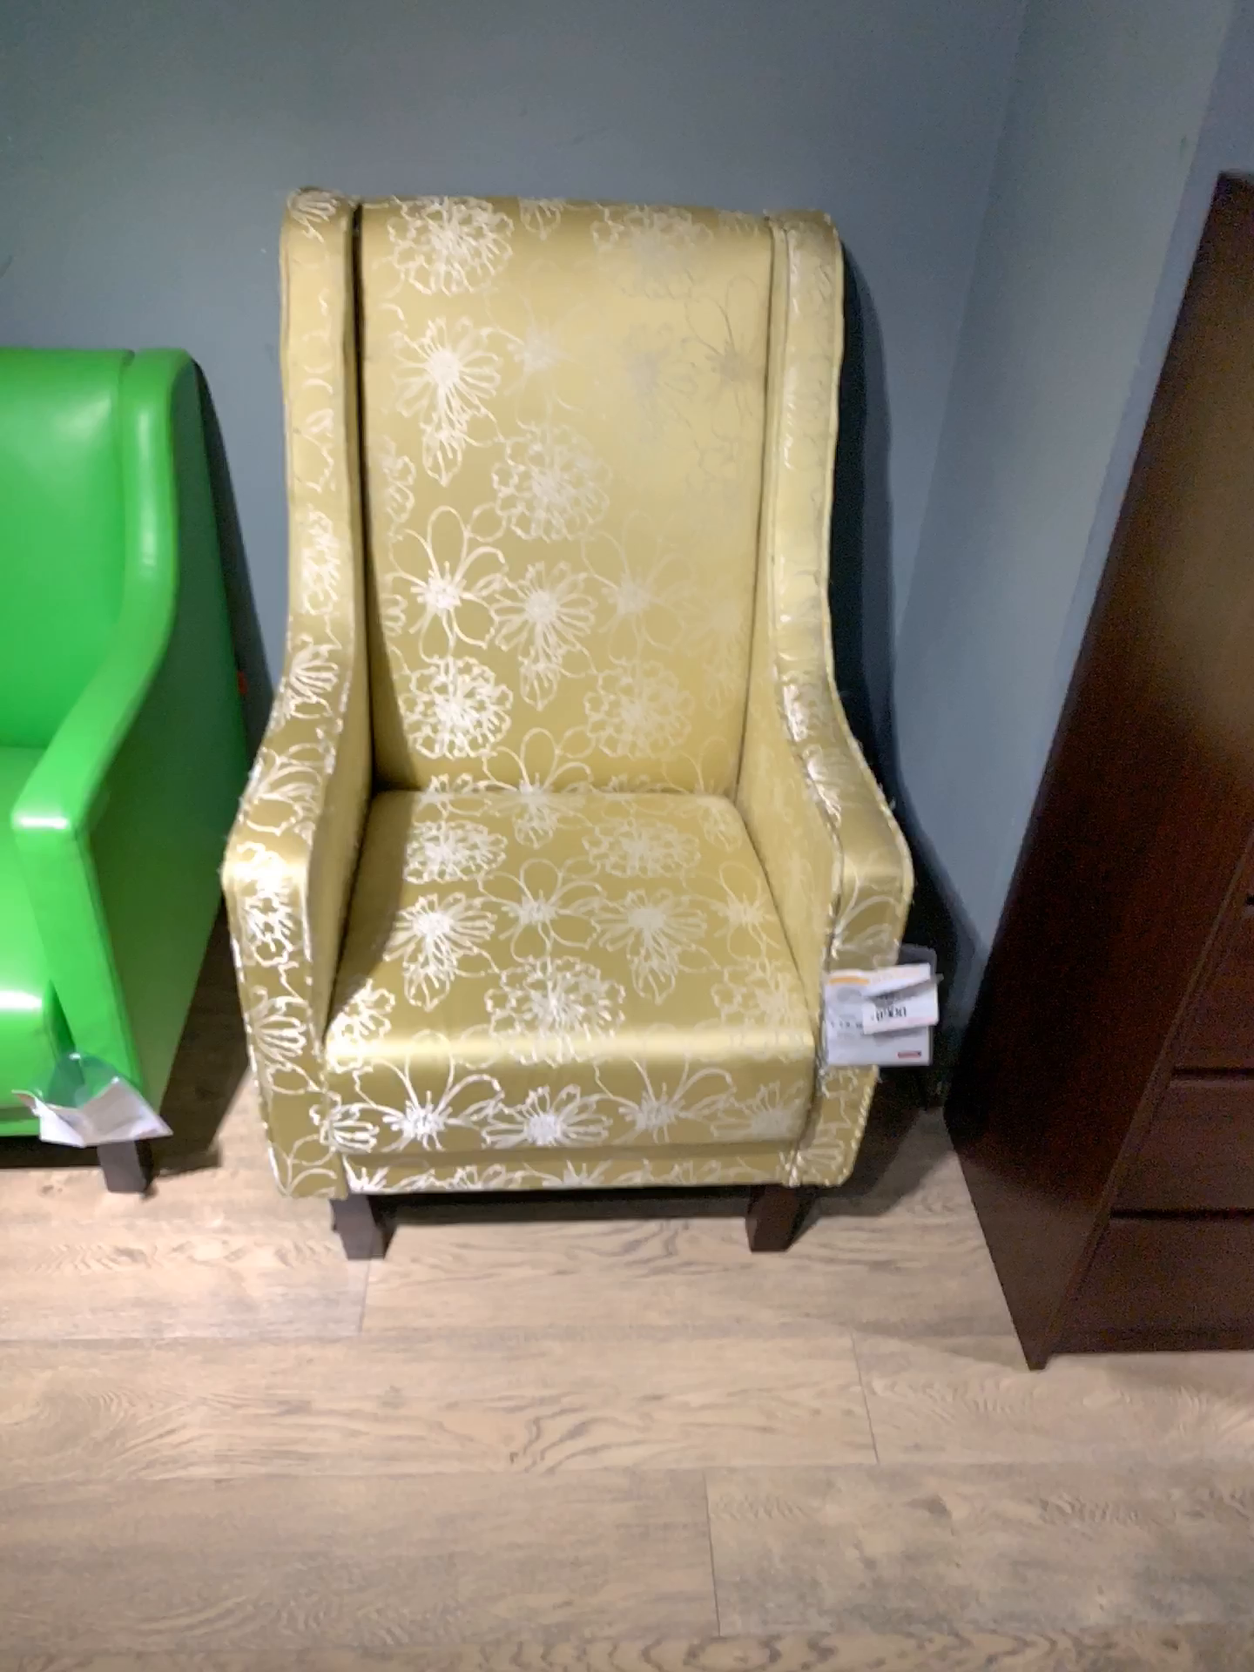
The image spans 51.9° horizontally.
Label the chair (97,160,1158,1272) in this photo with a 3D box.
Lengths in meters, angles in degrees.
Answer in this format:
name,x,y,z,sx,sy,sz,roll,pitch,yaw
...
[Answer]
name,x,y,z,sx,sy,sz,roll,pitch,yaw
chair,-0.047,-0.184,1.626,0.780,1.026,0.954,1,35,-5
